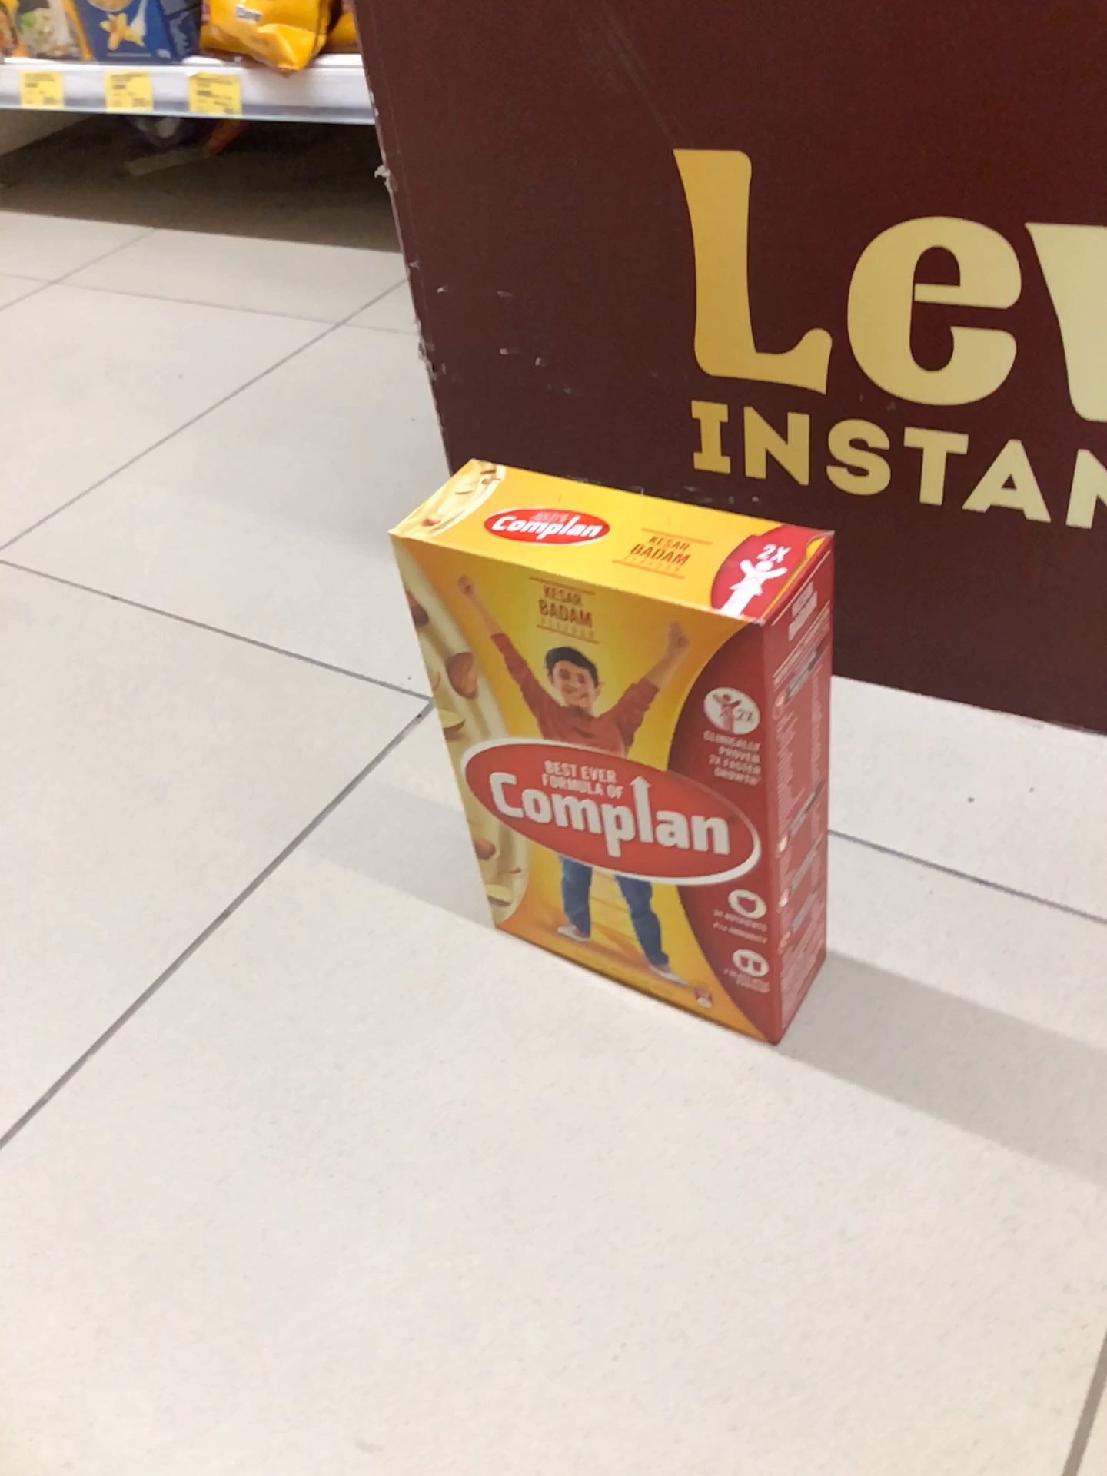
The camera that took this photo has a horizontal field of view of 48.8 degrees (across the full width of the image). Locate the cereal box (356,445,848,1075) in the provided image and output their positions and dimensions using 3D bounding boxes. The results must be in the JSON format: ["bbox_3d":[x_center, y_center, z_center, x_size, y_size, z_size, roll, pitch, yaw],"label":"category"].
[{"bbox_3d":[0.027,0.013,0.465,0.150,0.219,0.060,18,48,29],"label":"cereal box"}]
